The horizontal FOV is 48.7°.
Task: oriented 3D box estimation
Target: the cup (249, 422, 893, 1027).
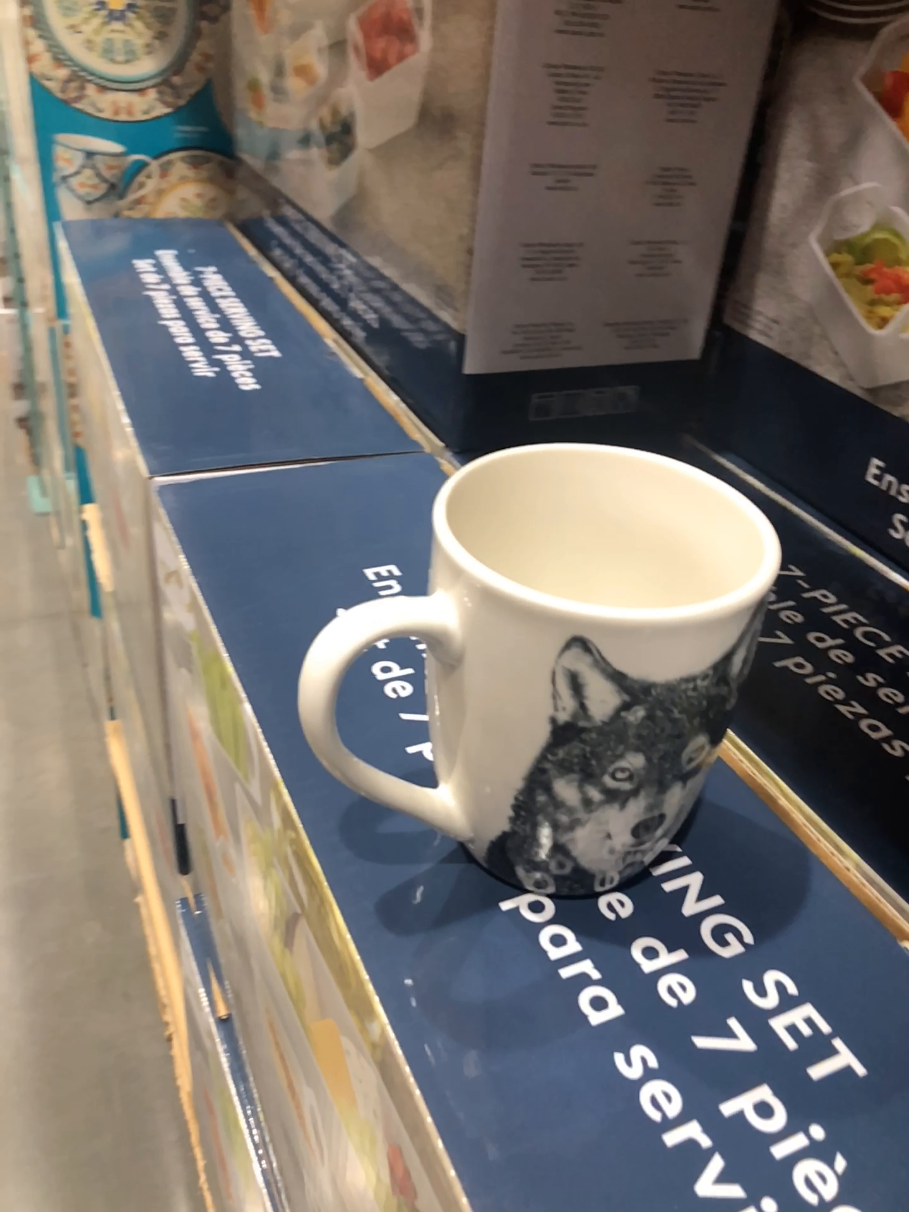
[{"bbox_3d":[0.021,0.022,0.272,0.128,0.102,0.093,-11,36,-25],"label":"cup"}]
